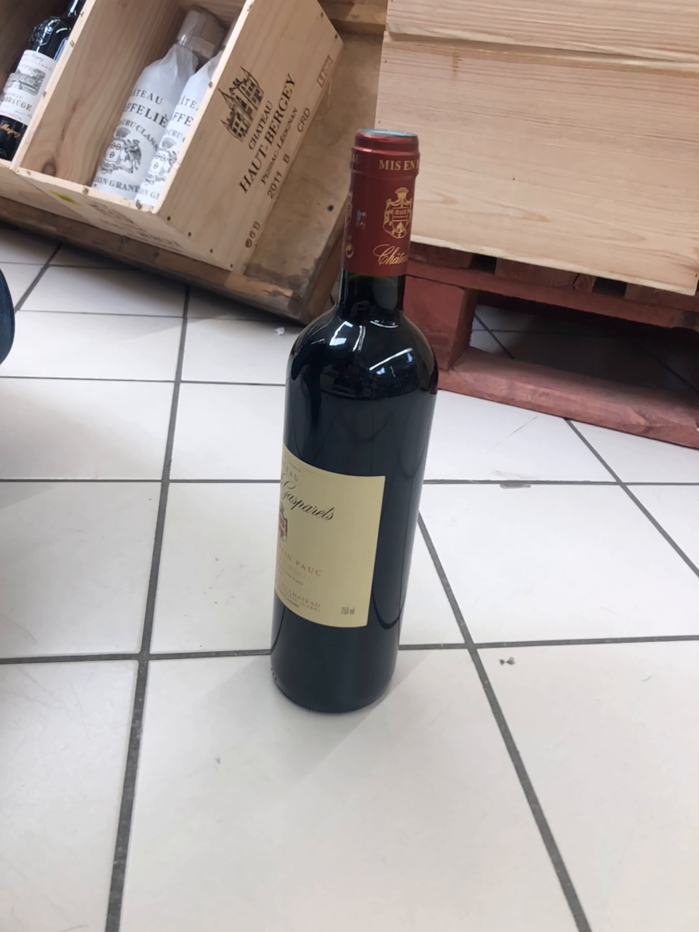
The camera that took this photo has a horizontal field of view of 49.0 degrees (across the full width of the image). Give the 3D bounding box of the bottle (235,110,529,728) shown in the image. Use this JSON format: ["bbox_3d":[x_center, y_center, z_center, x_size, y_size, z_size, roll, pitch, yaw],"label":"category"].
[{"bbox_3d":[0.000,-0.013,0.384,0.090,0.288,0.080,-6,31,-22],"label":"bottle"}]
